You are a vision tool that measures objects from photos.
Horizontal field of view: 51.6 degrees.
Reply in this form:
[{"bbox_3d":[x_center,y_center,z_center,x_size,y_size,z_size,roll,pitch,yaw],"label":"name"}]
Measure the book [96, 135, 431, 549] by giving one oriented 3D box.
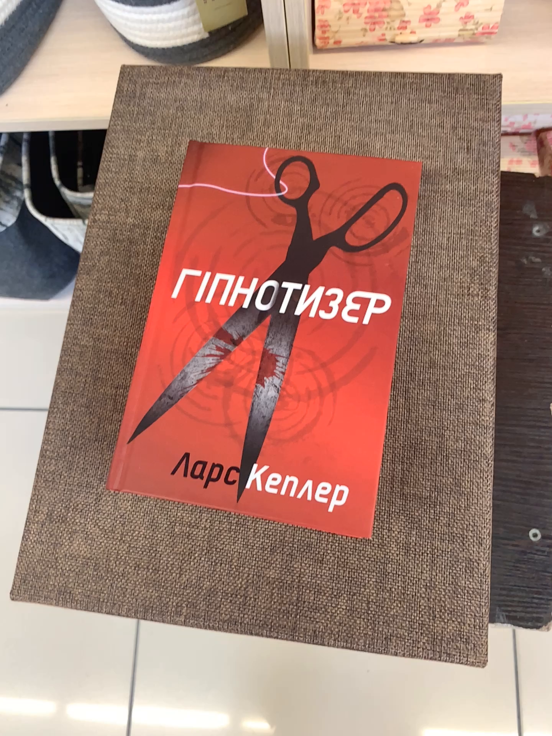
[{"bbox_3d":[0.000,-0.018,0.307,0.132,0.050,0.195,9,77,8],"label":"book"}]
